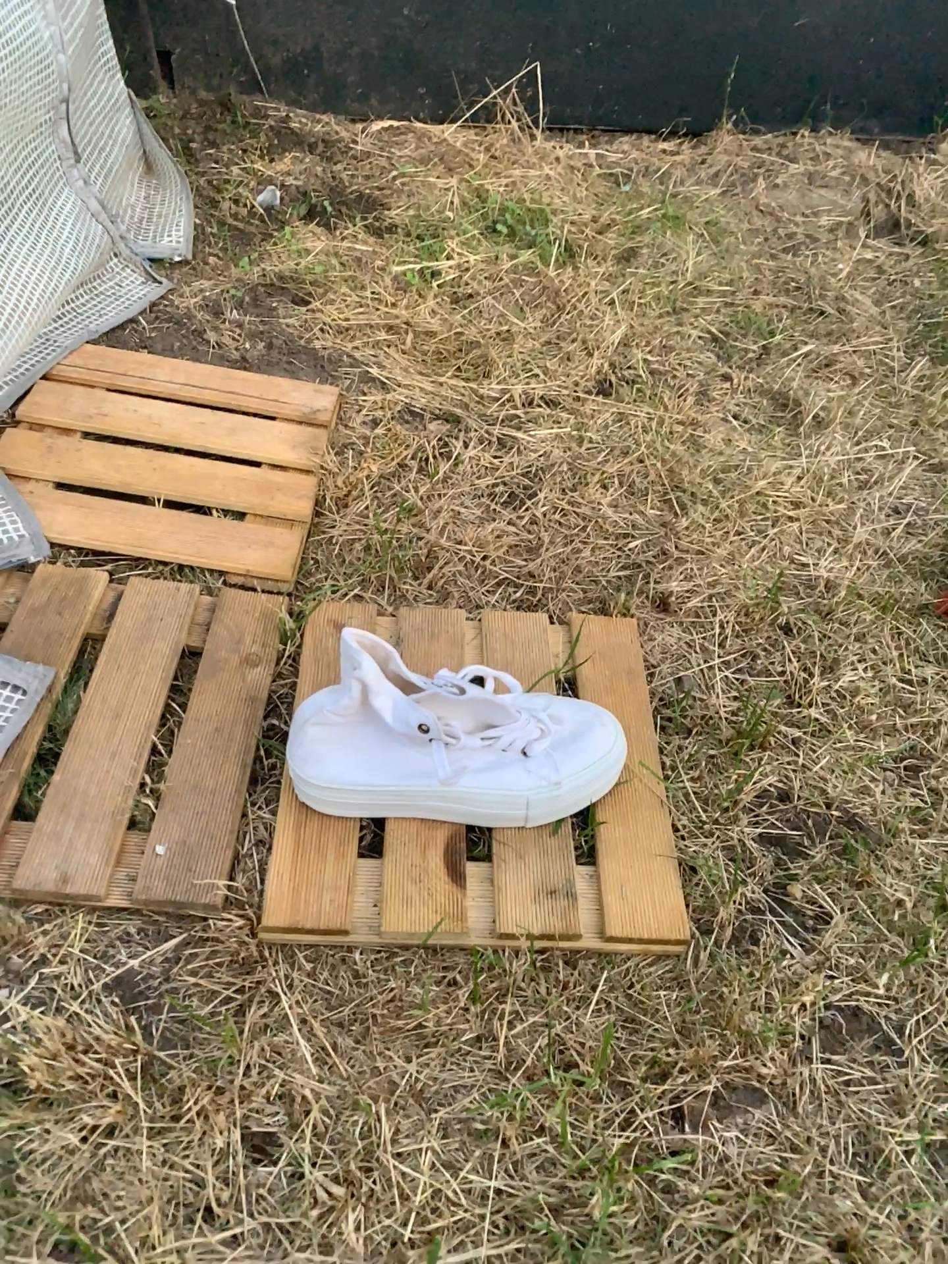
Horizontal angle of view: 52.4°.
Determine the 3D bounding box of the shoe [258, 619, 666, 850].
[{"bbox_3d":[-0.007,0.075,0.696,0.260,0.129,0.101,2,48,1],"label":"shoe"}]
